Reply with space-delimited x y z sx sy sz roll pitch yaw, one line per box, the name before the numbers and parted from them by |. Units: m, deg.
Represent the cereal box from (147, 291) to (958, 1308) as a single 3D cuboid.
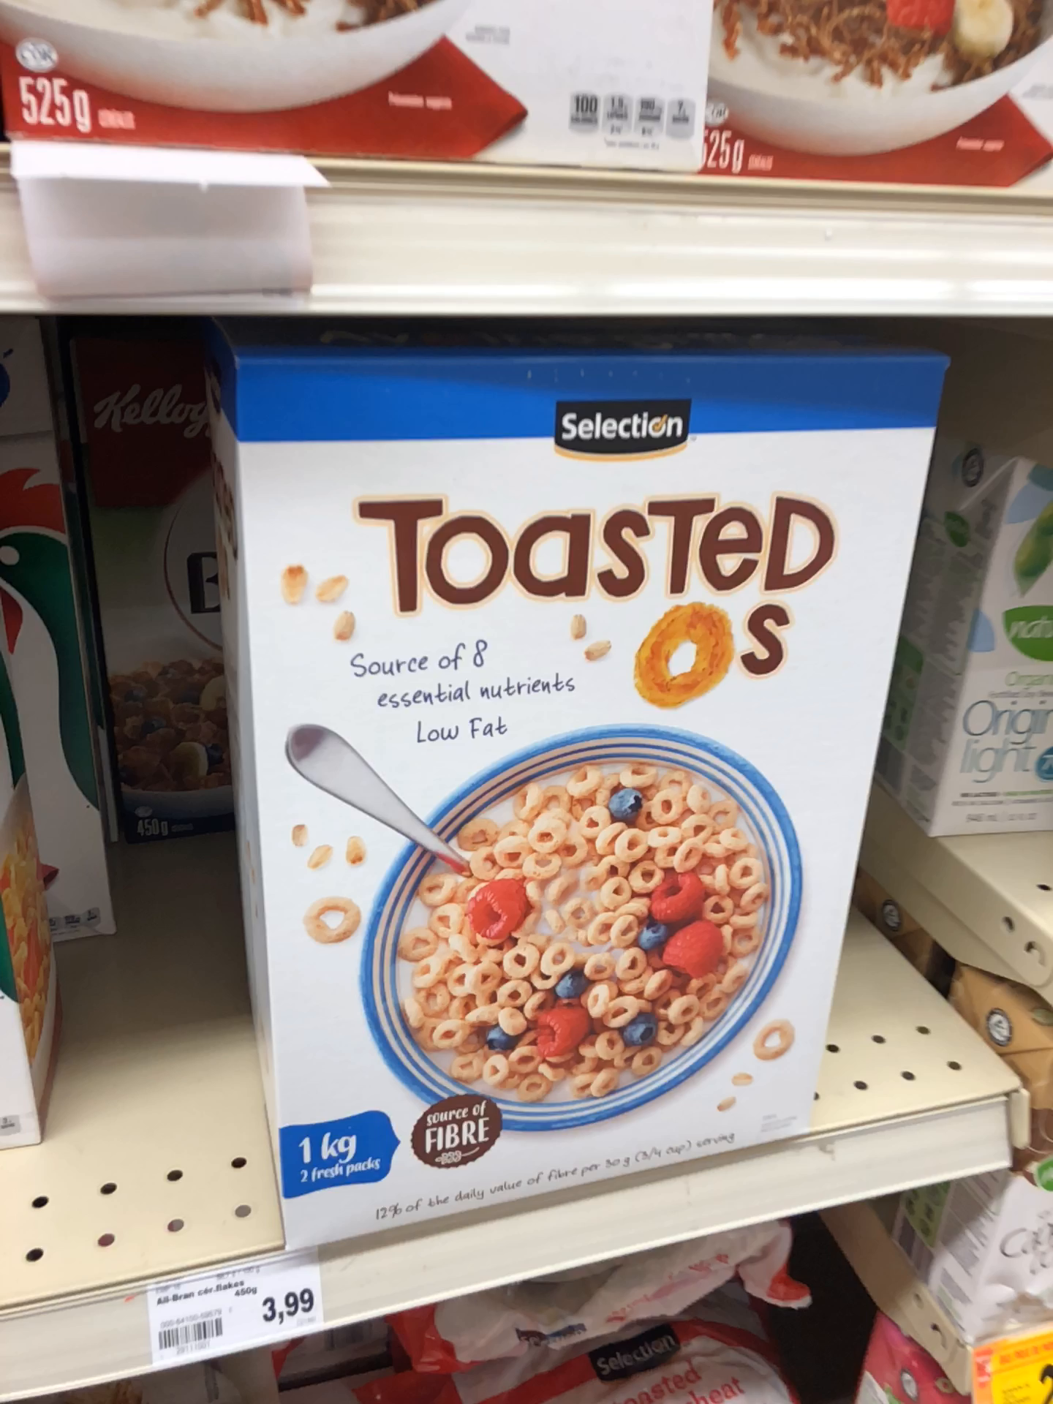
cereal box | -0.008 0.021 0.464 0.240 0.338 0.161 -6 24 -18
